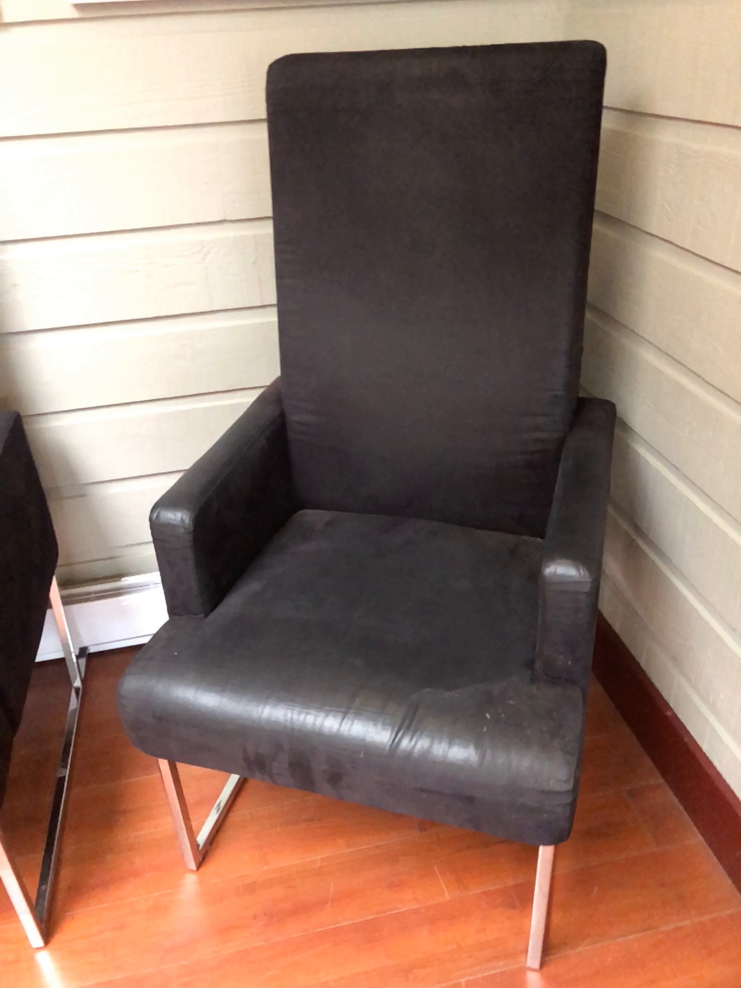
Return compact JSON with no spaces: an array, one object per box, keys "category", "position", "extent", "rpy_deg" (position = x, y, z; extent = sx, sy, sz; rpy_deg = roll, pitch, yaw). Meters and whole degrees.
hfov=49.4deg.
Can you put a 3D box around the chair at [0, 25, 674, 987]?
[{"category":"chair","position":[0.028,-0.028,1.162],"extent":[0.631,1.083,0.704],"rpy_deg":[6,31,17]}]
